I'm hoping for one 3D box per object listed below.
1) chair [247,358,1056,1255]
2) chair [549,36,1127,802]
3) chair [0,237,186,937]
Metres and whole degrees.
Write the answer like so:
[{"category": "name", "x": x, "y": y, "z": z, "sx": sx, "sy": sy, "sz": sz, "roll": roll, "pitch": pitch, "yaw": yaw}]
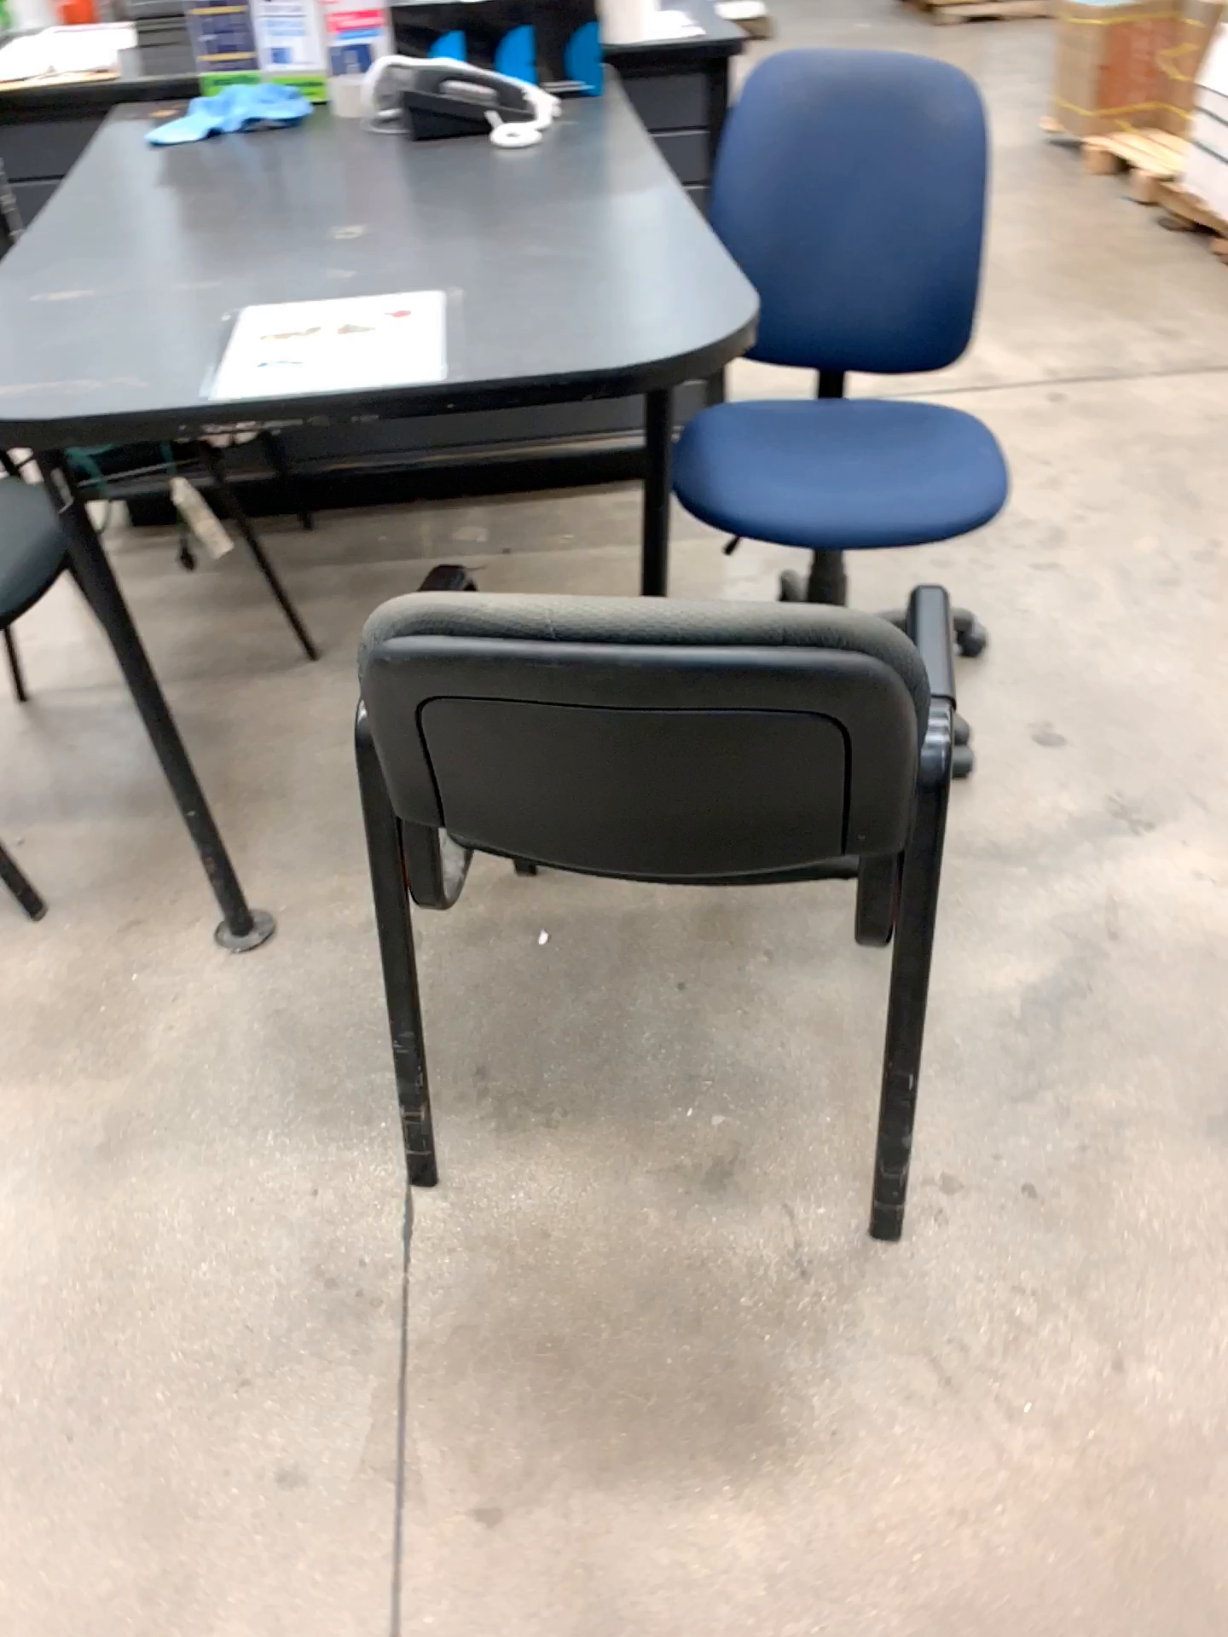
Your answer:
[{"category": "chair", "x": 0.078, "y": -0.025, "z": 1.390, "sx": 0.604, "sy": 0.749, "sz": 0.587, "roll": 4, "pitch": 40, "yaw": 9}, {"category": "chair", "x": 0.322, "y": -0.630, "z": 1.981, "sx": 0.643, "sy": 0.917, "sz": 0.719, "roll": 4, "pitch": 40, "yaw": 9}, {"category": "chair", "x": -1.110, "y": -0.334, "z": 1.833, "sx": 0.583, "sy": 0.777, "sz": 0.640, "roll": 0, "pitch": 39, "yaw": 4}]
